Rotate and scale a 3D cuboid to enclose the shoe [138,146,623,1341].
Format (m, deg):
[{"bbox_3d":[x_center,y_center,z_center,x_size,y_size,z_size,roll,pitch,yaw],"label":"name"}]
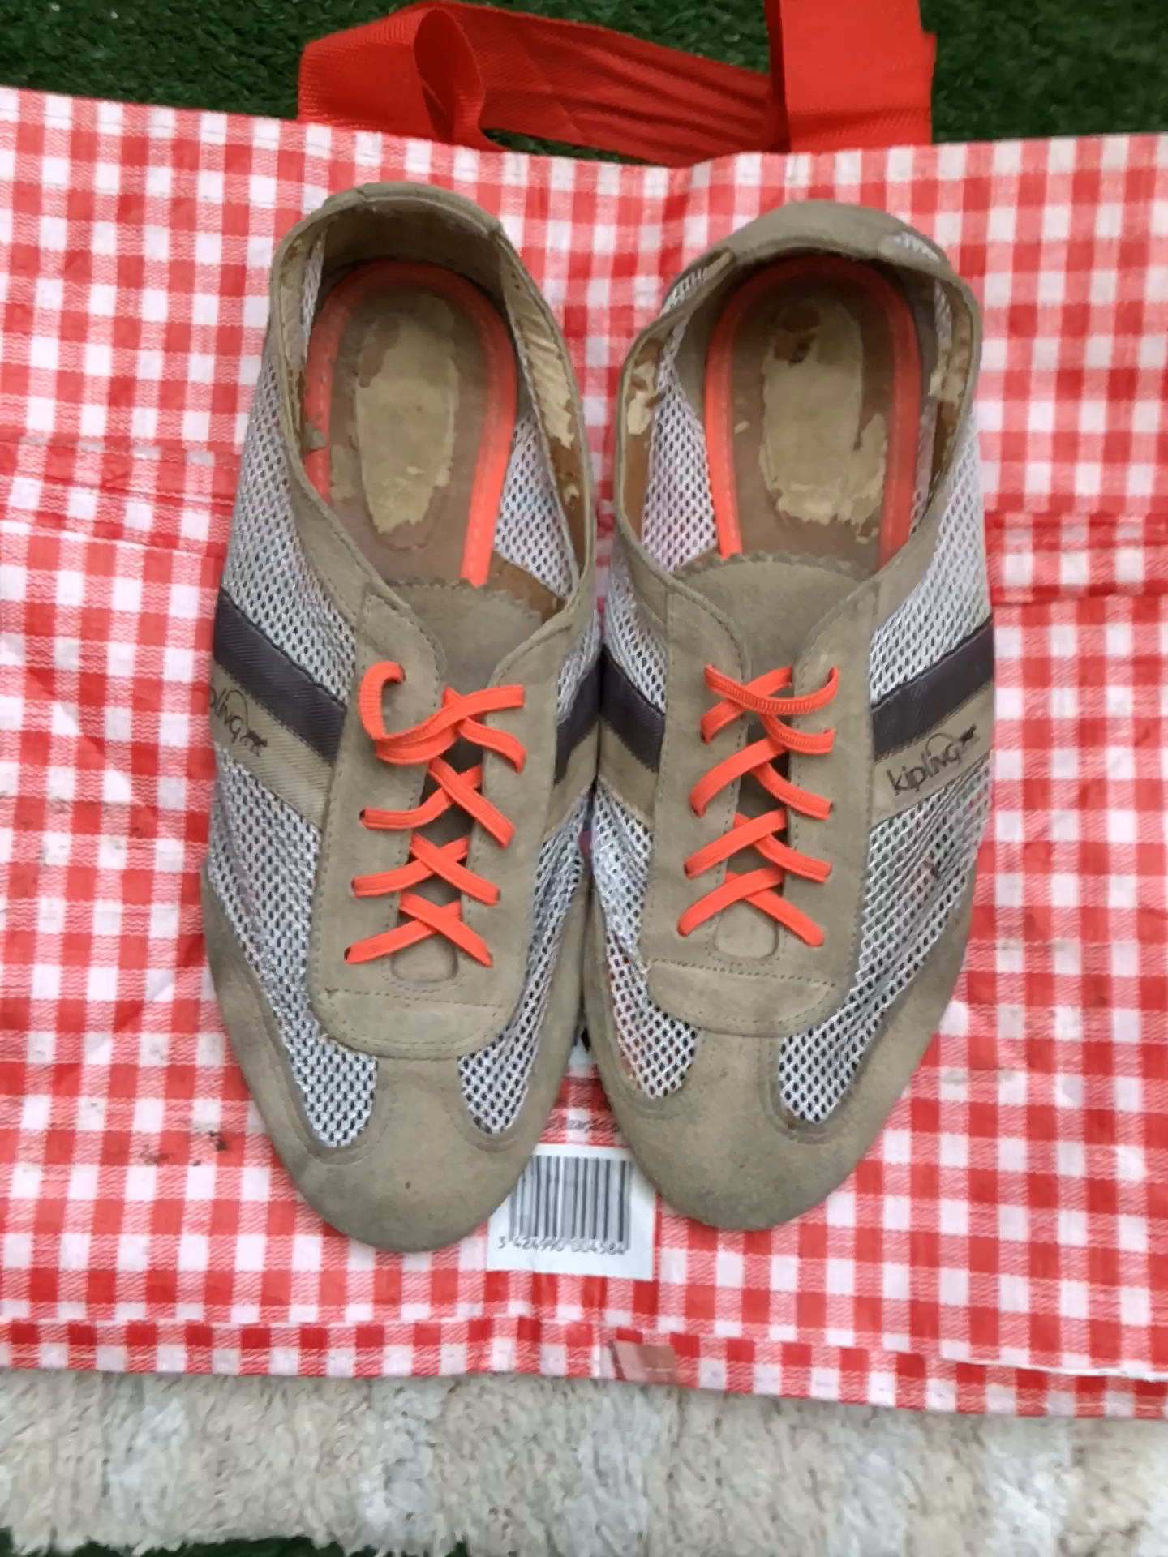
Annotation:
[{"bbox_3d":[-0.048,-0.006,0.300,0.100,0.050,0.240,-1,94,-18],"label":"shoe"}]

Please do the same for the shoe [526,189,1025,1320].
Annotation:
[{"bbox_3d":[0.043,-0.004,0.301,0.100,0.050,0.230,2,95,15],"label":"shoe"}]
